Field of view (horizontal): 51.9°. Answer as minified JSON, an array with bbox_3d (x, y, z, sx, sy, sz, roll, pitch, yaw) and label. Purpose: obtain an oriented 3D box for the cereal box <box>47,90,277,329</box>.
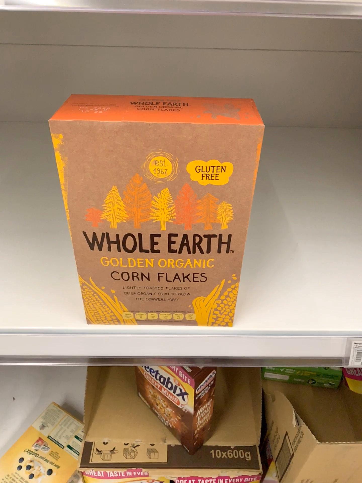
[{"bbox_3d":[-0.019,-0.024,0.440,0.200,0.267,0.091,2,36,0],"label":"cereal box"}]
